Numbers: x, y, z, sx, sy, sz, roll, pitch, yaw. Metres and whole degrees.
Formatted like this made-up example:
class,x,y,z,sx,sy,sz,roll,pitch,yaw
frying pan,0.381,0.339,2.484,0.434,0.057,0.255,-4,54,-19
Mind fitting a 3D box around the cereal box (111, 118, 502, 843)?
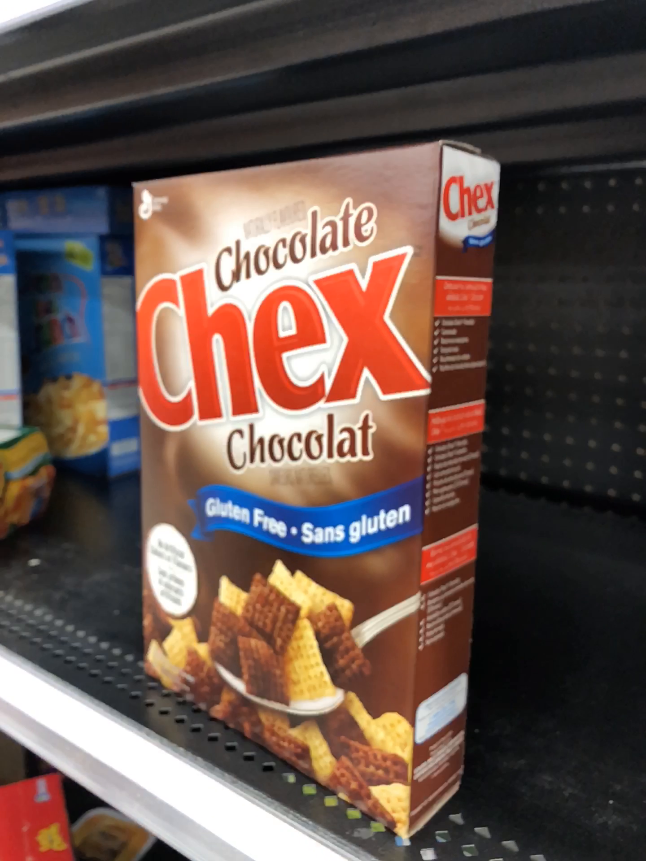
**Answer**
class,x,y,z,sx,sy,sz,roll,pitch,yaw
cereal box,-0.023,0.013,0.356,0.200,0.279,0.050,11,14,42
